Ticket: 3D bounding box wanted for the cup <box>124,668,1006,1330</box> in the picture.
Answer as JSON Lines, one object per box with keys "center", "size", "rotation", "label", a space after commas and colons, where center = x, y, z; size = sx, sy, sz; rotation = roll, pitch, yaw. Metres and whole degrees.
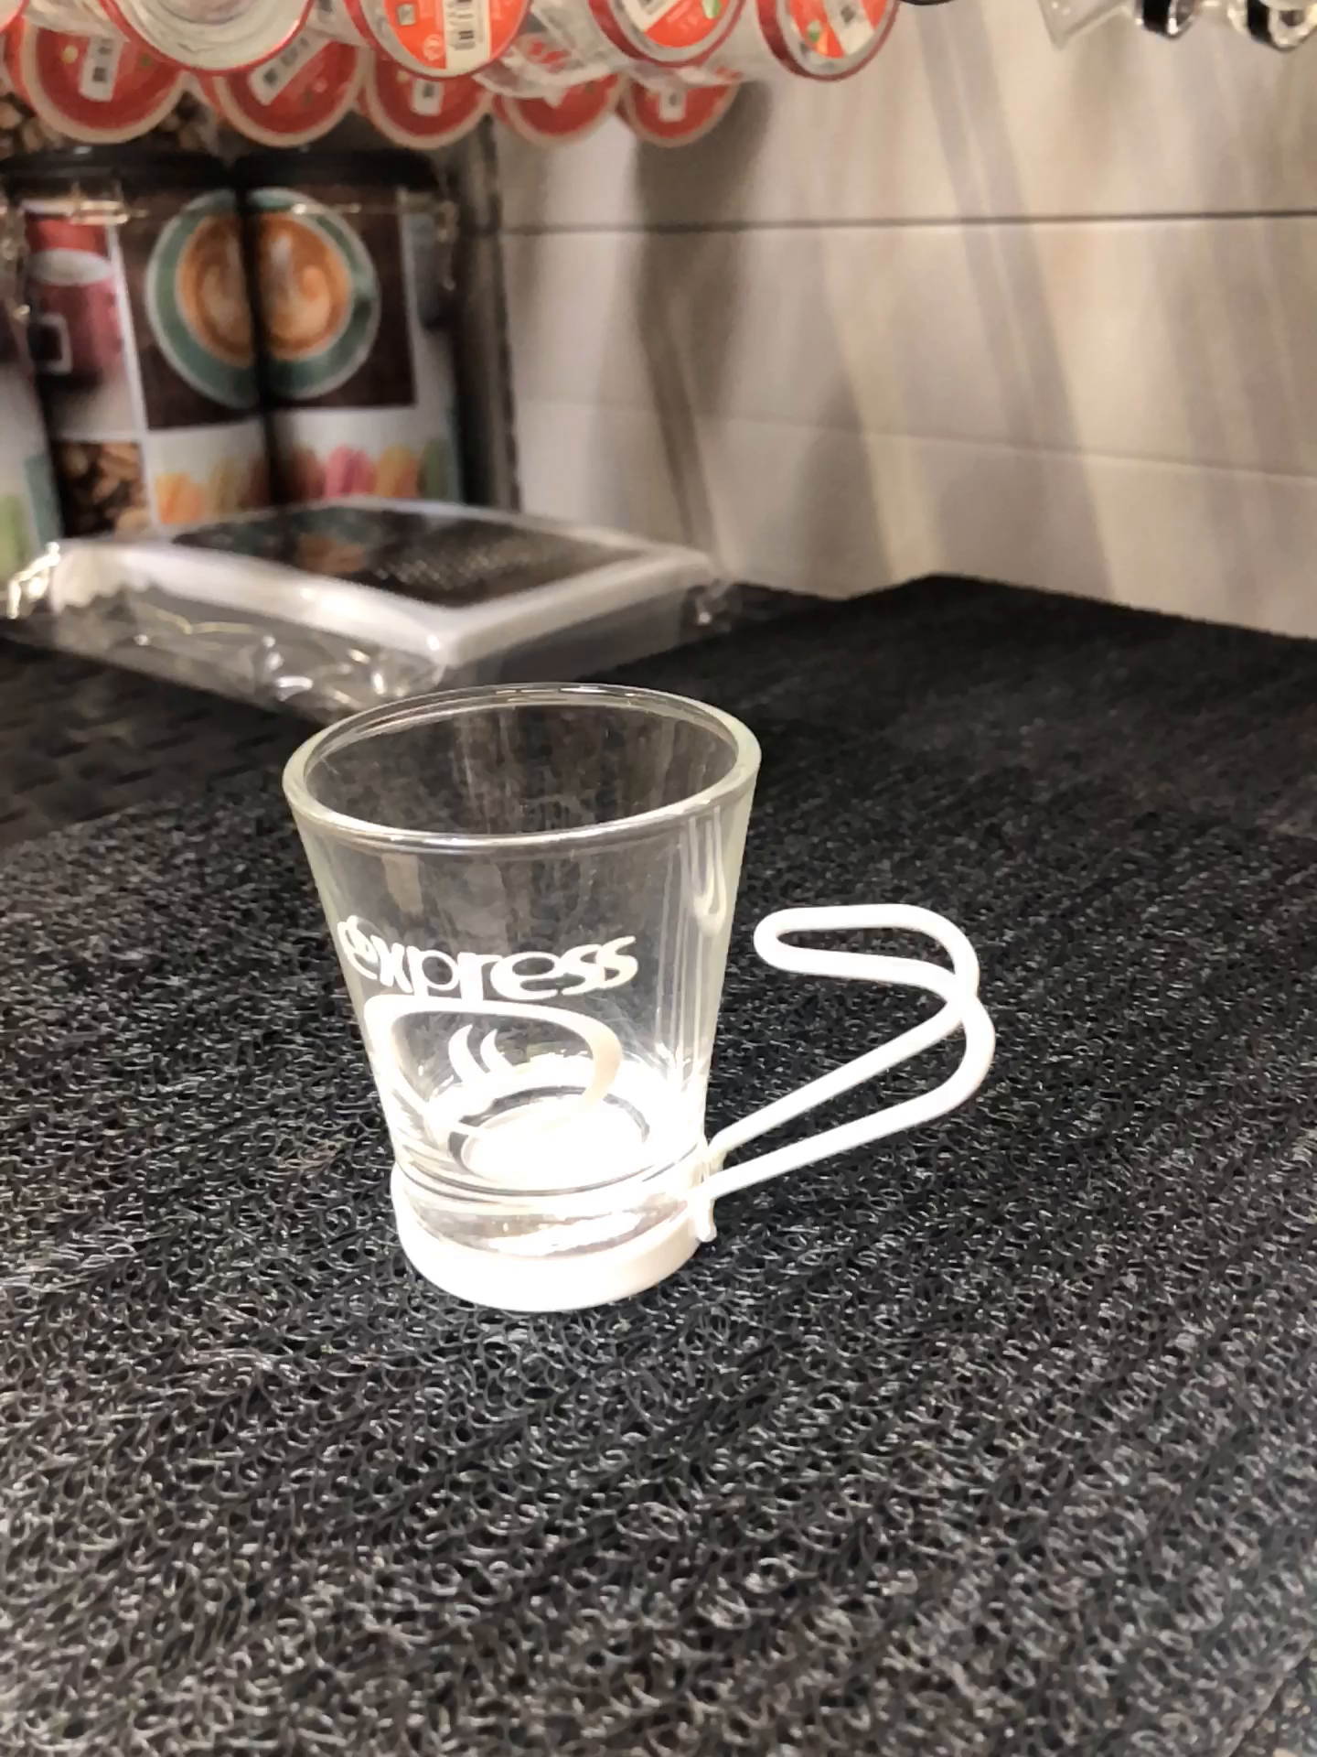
{"center": [-0.008, 0.014, 0.194], "size": [0.092, 0.063, 0.060], "rotation": [-1, 28, 3], "label": "cup"}
